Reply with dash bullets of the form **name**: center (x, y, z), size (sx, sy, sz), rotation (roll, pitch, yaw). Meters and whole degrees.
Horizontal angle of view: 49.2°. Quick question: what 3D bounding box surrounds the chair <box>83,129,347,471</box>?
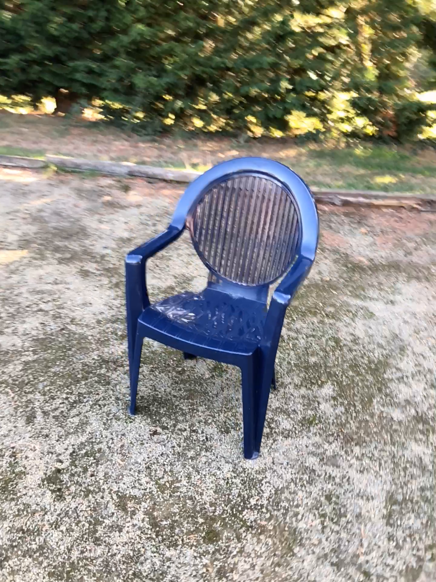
- **chair**: center (0.011, -0.010, 1.589), size (0.590, 0.855, 0.574), rotation (14, 31, 18)
